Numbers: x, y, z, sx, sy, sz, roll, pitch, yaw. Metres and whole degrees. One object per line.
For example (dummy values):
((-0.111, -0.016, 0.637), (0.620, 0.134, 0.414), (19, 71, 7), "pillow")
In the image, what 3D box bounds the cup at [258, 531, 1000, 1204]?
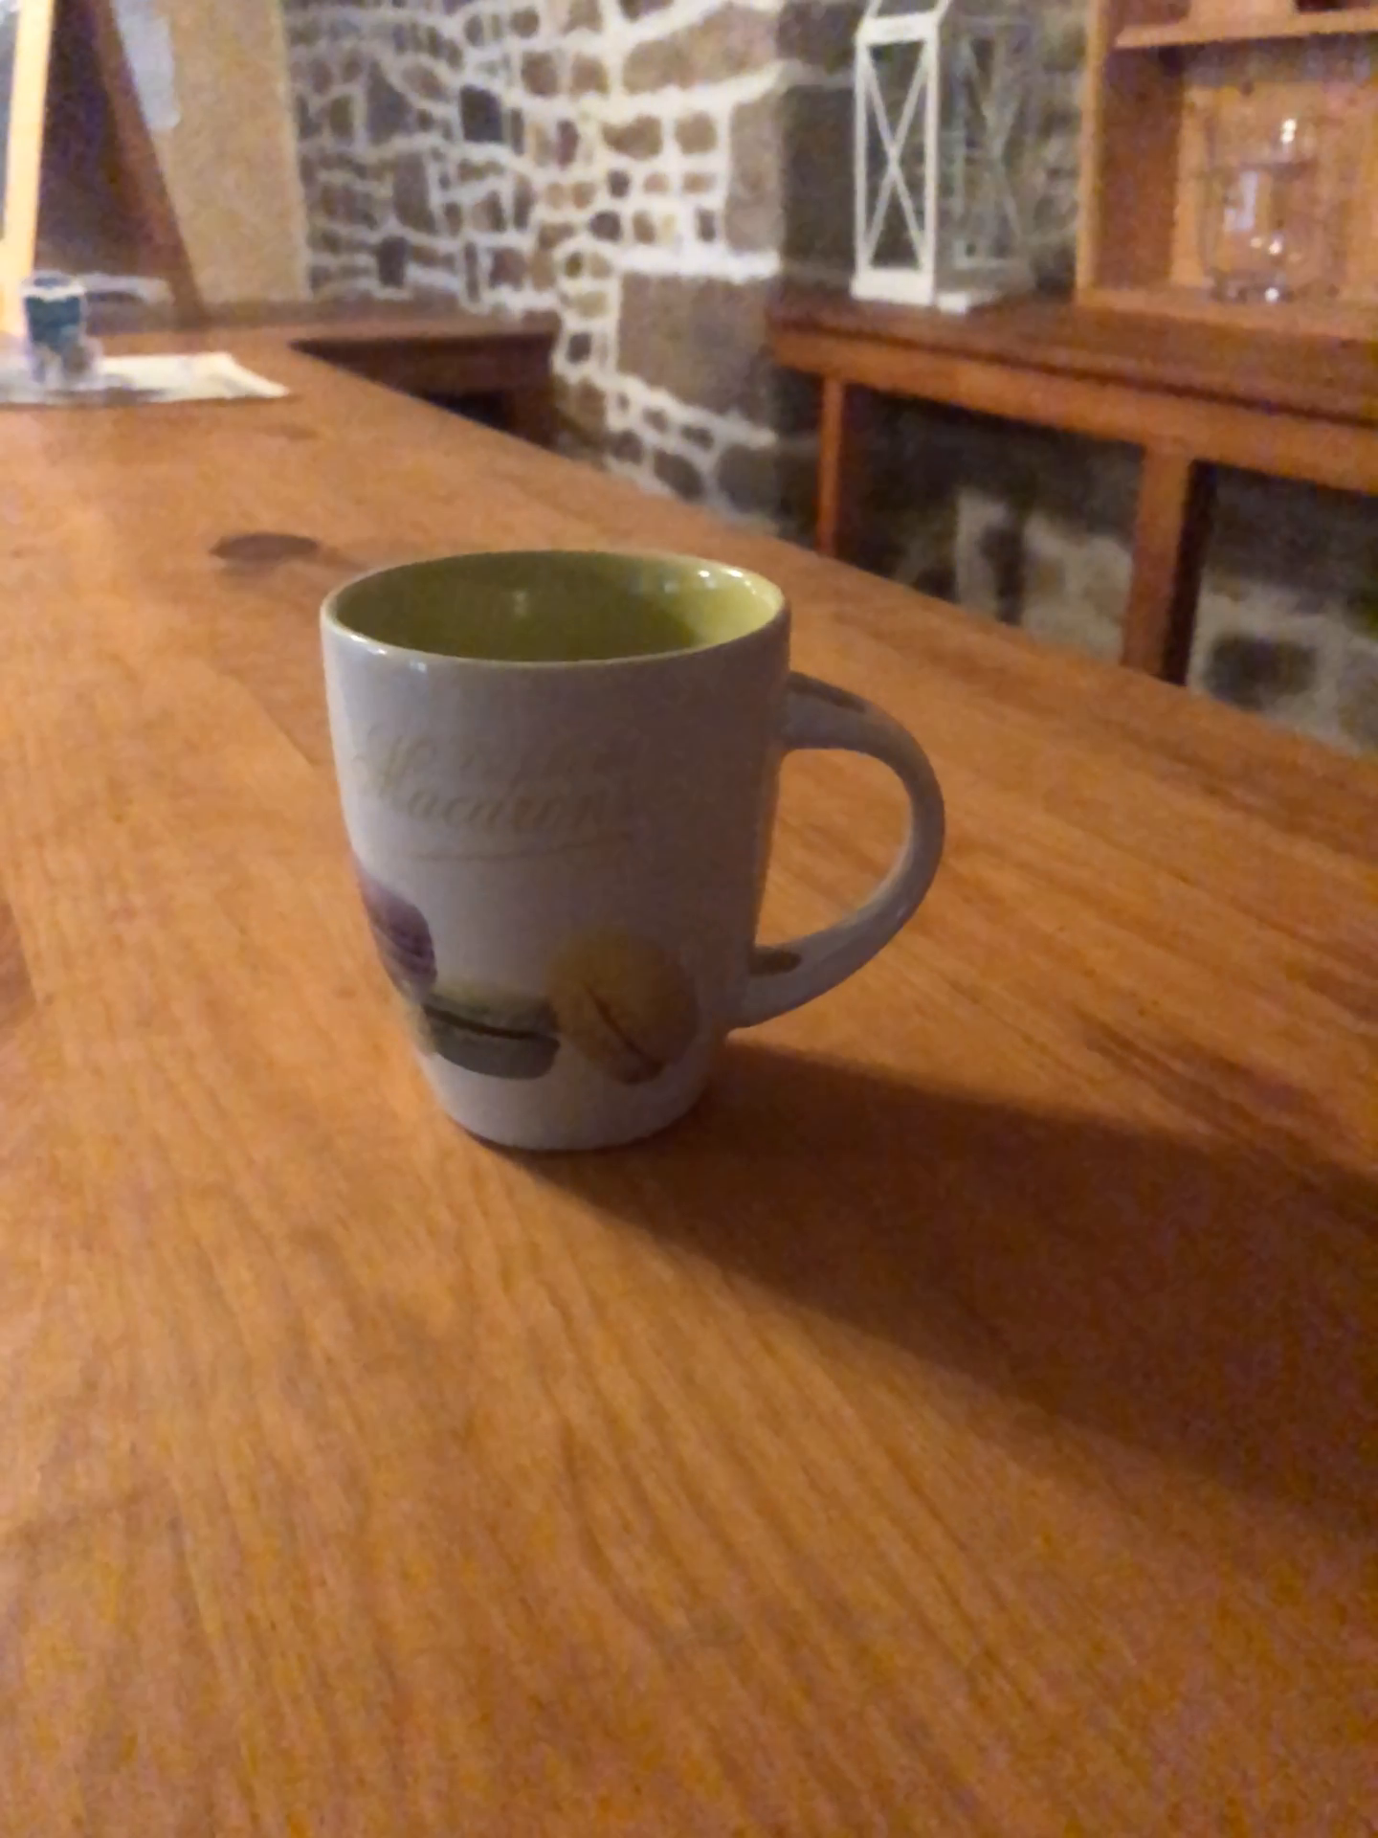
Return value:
((-0.015, -0.017, 0.311), (0.120, 0.099, 0.098), (-3, 26, -8), "cup")
